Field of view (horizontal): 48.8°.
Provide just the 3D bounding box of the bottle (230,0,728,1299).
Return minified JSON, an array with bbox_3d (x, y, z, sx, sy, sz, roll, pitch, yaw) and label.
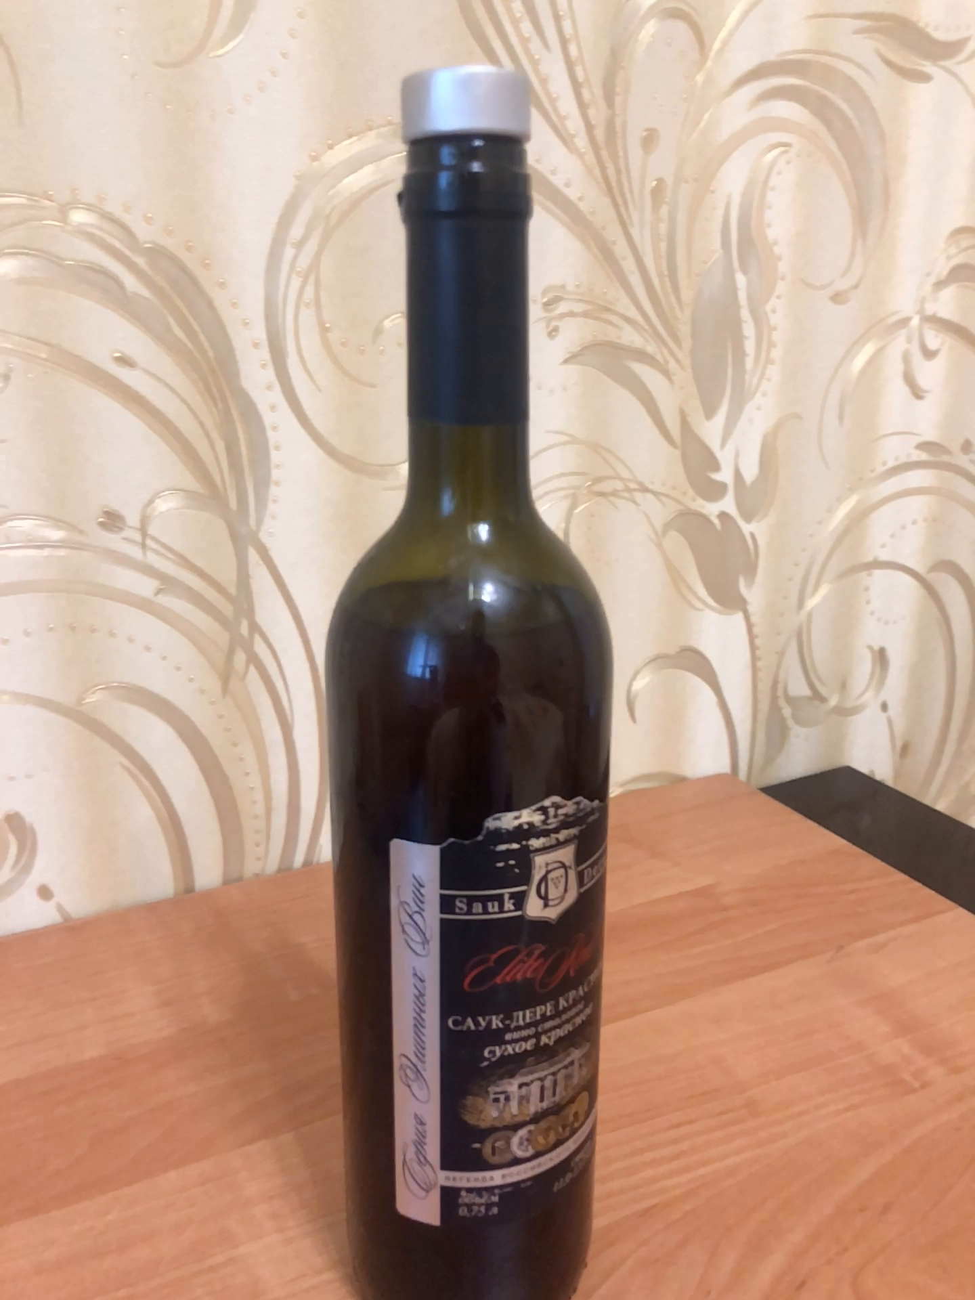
[{"bbox_3d":[-0.005,0.026,0.276,0.083,0.322,0.074,-8,19,-23],"label":"bottle"}]
